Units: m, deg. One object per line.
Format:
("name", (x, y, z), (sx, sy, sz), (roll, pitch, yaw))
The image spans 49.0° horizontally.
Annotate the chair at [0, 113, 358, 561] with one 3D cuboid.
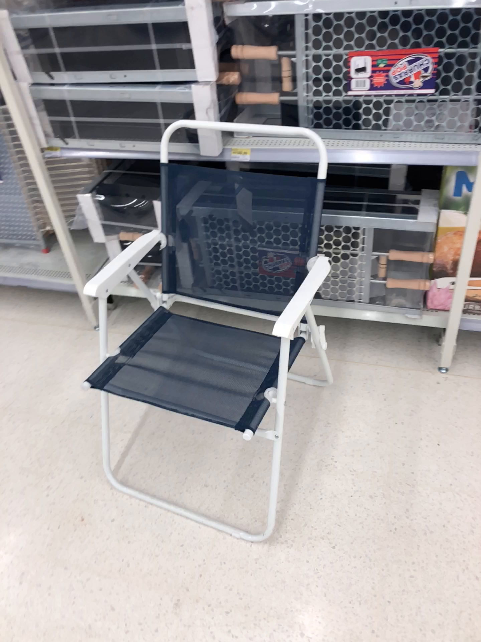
("chair", (-0.082, 0.003, 1.270), (0.541, 0.734, 0.654), (12, 44, 22))
